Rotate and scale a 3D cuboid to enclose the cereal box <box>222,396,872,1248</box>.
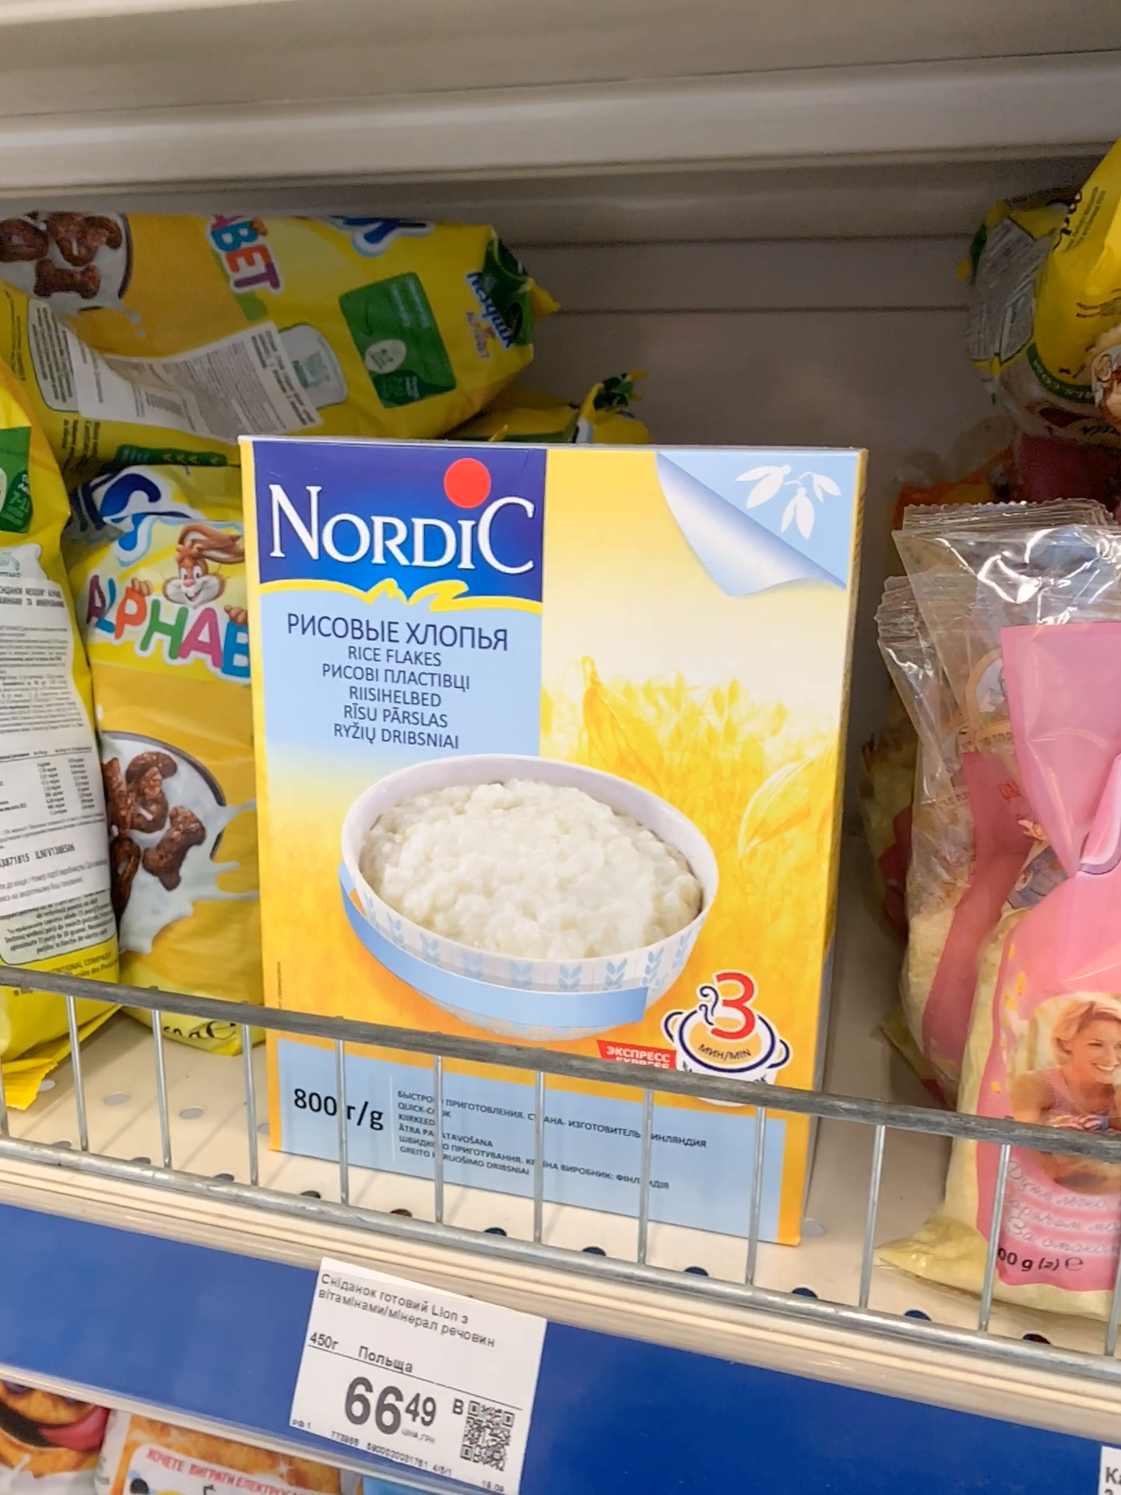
[{"bbox_3d":[0.000,0.010,0.320,0.150,0.199,0.080,5,13,15],"label":"cereal box"}]
